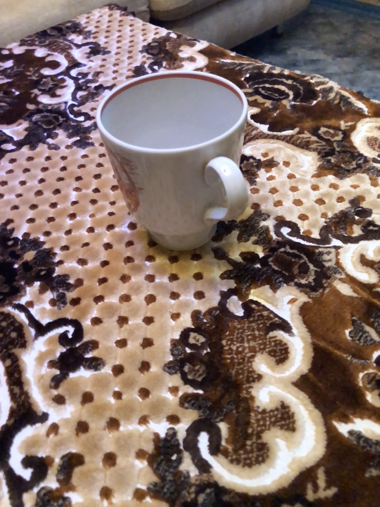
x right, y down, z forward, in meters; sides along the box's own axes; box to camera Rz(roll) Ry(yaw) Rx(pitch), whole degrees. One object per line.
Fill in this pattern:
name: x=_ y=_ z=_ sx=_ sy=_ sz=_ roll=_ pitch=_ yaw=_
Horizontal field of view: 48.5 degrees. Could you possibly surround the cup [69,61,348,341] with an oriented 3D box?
cup: x=0.004 y=-0.040 z=0.266 sx=0.100 sy=0.090 sz=0.130 roll=-25 pitch=52 yaw=-19
